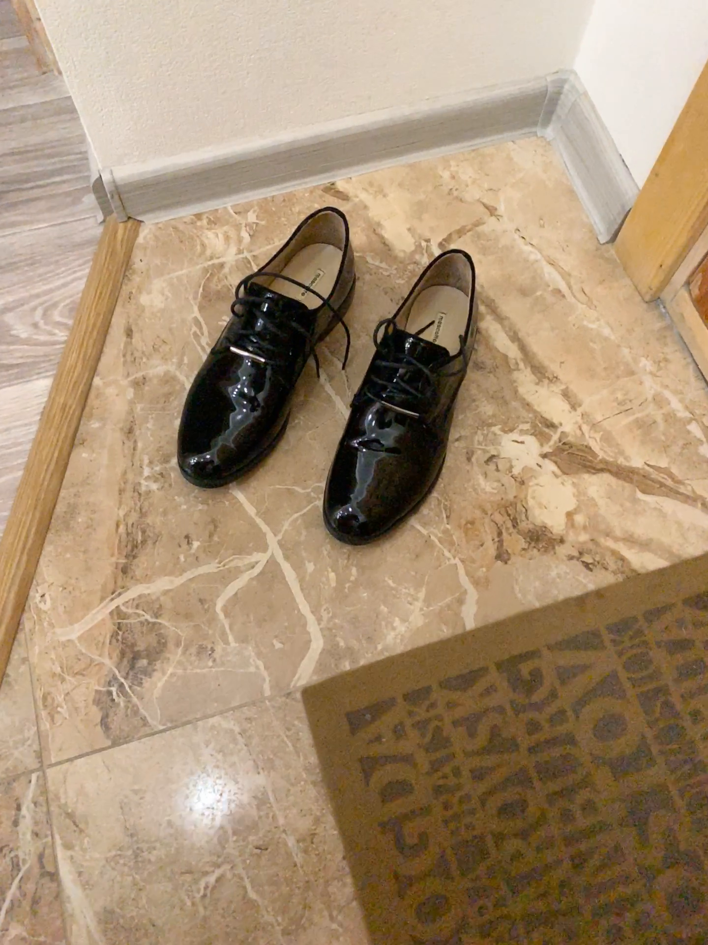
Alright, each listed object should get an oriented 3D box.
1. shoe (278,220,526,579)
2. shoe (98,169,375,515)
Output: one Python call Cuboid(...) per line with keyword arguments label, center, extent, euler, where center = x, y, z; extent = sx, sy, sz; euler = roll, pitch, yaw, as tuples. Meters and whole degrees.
Cuboid(label="shoe", center=(0.038, -0.055, 0.549), extent=(0.090, 0.110, 0.230), euler=(22, 69, 8))
Cuboid(label="shoe", center=(-0.077, -0.101, 0.563), extent=(0.086, 0.110, 0.230), euler=(27, 69, 10))
